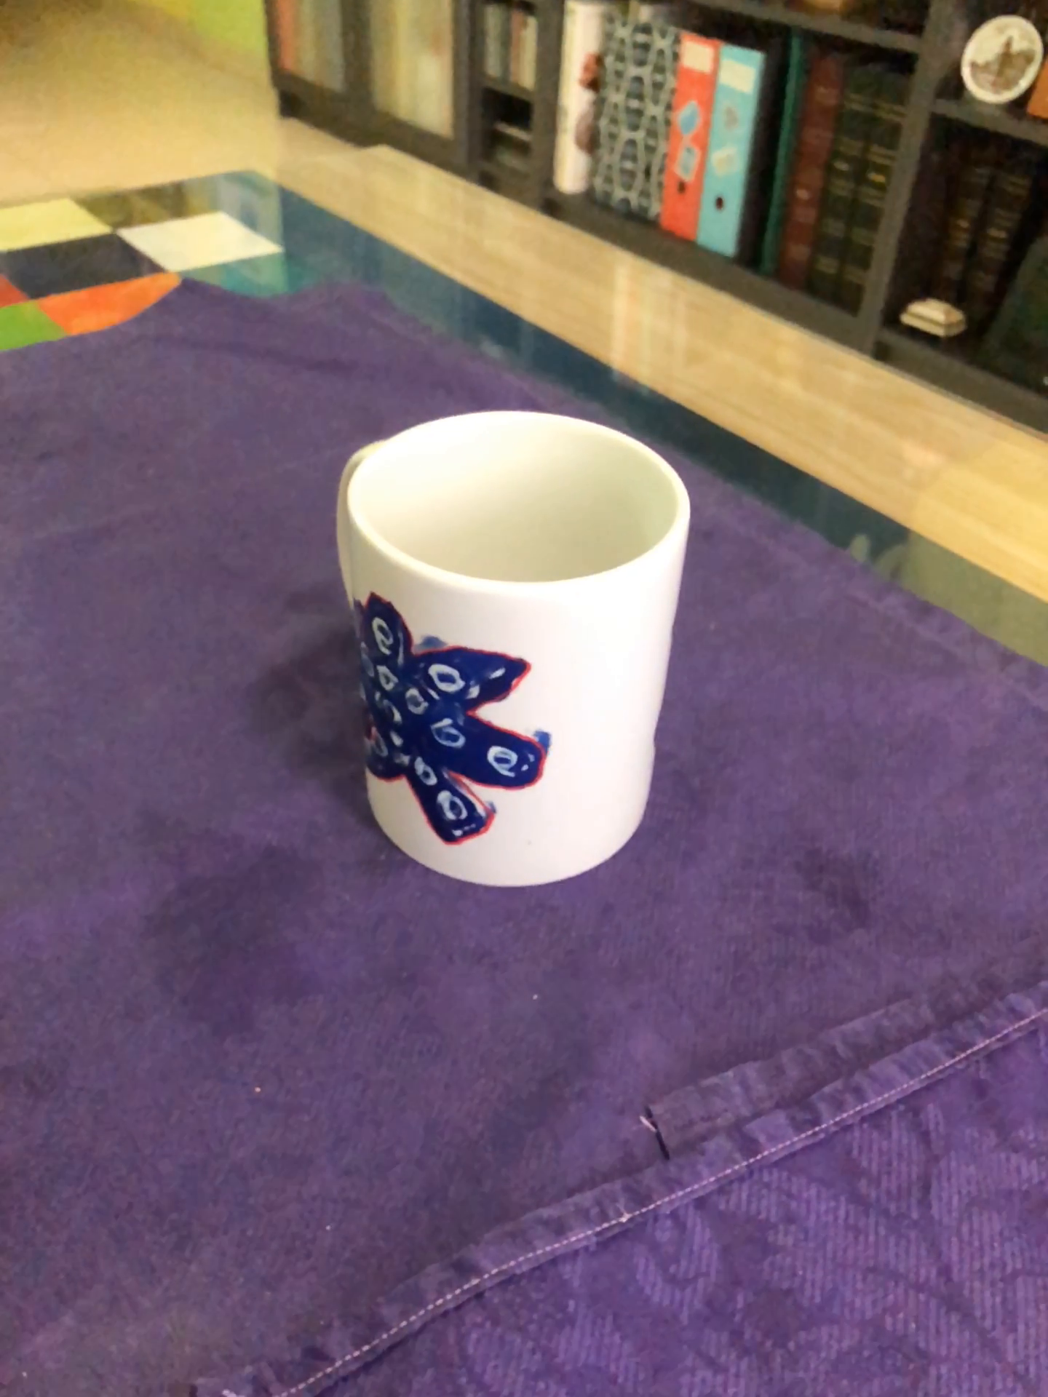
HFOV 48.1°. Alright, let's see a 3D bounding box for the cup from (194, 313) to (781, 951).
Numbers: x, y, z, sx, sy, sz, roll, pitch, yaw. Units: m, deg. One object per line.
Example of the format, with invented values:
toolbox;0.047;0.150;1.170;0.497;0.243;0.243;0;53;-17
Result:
cup;-0.016;-0.025;0.301;0.080;0.090;0.130;-21;45;-26
